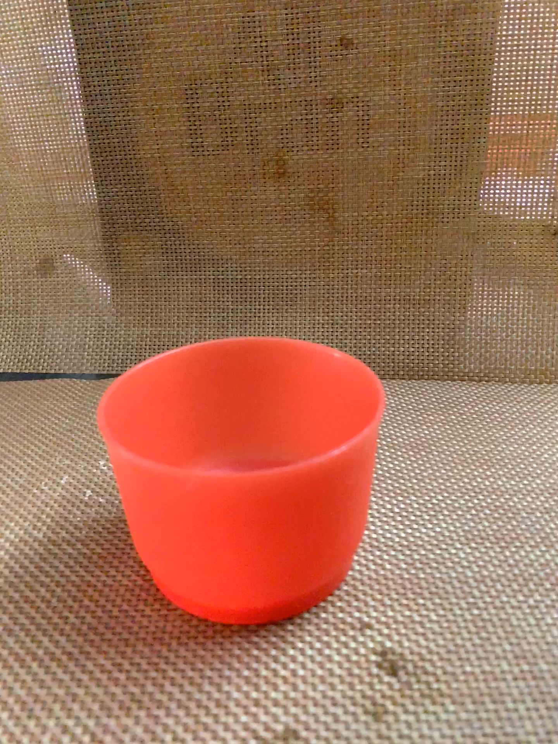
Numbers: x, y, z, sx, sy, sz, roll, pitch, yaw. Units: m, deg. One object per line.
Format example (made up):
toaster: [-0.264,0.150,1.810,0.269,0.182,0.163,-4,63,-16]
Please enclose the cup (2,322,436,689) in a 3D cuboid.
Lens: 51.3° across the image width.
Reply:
cup: [-0.013,0.027,0.155,0.081,0.050,0.079,-1,26,1]
